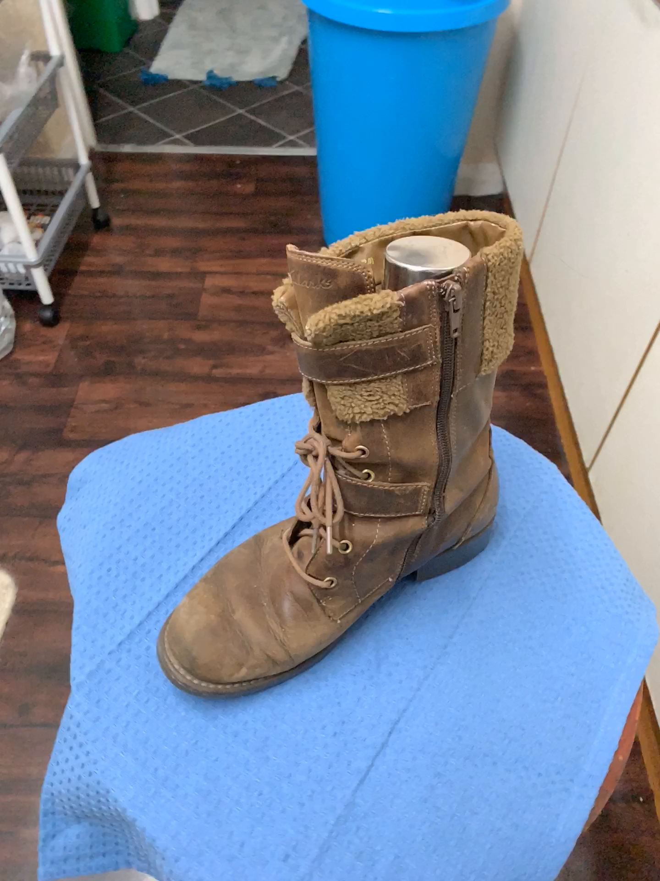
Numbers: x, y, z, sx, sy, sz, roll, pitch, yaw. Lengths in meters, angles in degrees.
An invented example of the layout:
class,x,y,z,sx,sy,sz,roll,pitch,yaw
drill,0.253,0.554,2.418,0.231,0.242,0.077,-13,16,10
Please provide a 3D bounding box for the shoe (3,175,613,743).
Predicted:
class,x,y,z,sx,sy,sz,roll,pitch,yaw
shoe,-0.006,0.011,0.385,0.250,0.228,0.121,-20,45,-17
